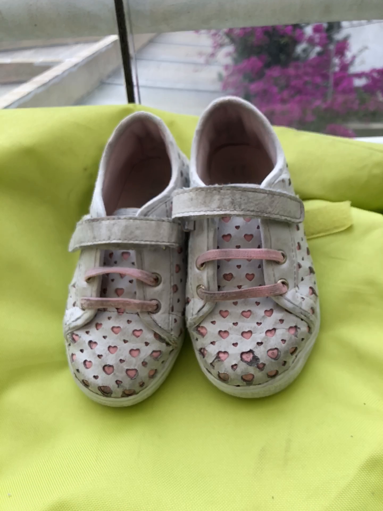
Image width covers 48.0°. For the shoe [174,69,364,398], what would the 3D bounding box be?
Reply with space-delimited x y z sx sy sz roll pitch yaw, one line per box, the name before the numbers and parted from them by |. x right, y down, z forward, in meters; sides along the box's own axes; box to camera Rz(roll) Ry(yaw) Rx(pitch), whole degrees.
shoe | 0.034 -0.014 0.245 0.080 0.060 0.177 -2 67 4

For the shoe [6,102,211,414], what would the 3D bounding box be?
shoe | -0.041 -0.001 0.267 0.080 0.060 0.176 4 72 11
